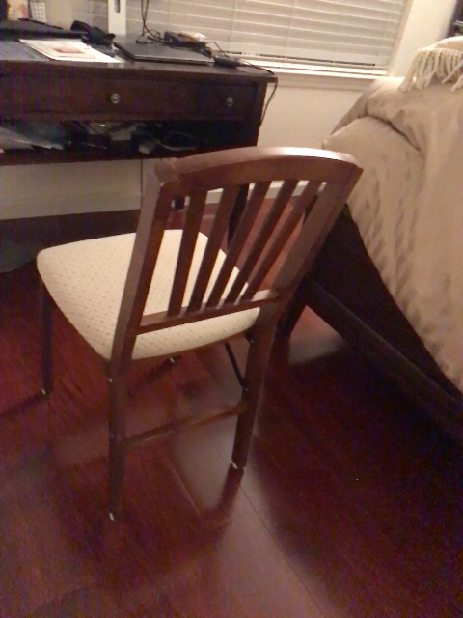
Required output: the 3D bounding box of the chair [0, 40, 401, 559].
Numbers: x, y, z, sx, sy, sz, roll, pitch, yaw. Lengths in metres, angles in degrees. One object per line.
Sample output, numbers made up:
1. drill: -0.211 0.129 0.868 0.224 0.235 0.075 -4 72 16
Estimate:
1. chair: -0.180 -0.068 1.229 0.532 0.893 0.723 -12 39 -31
